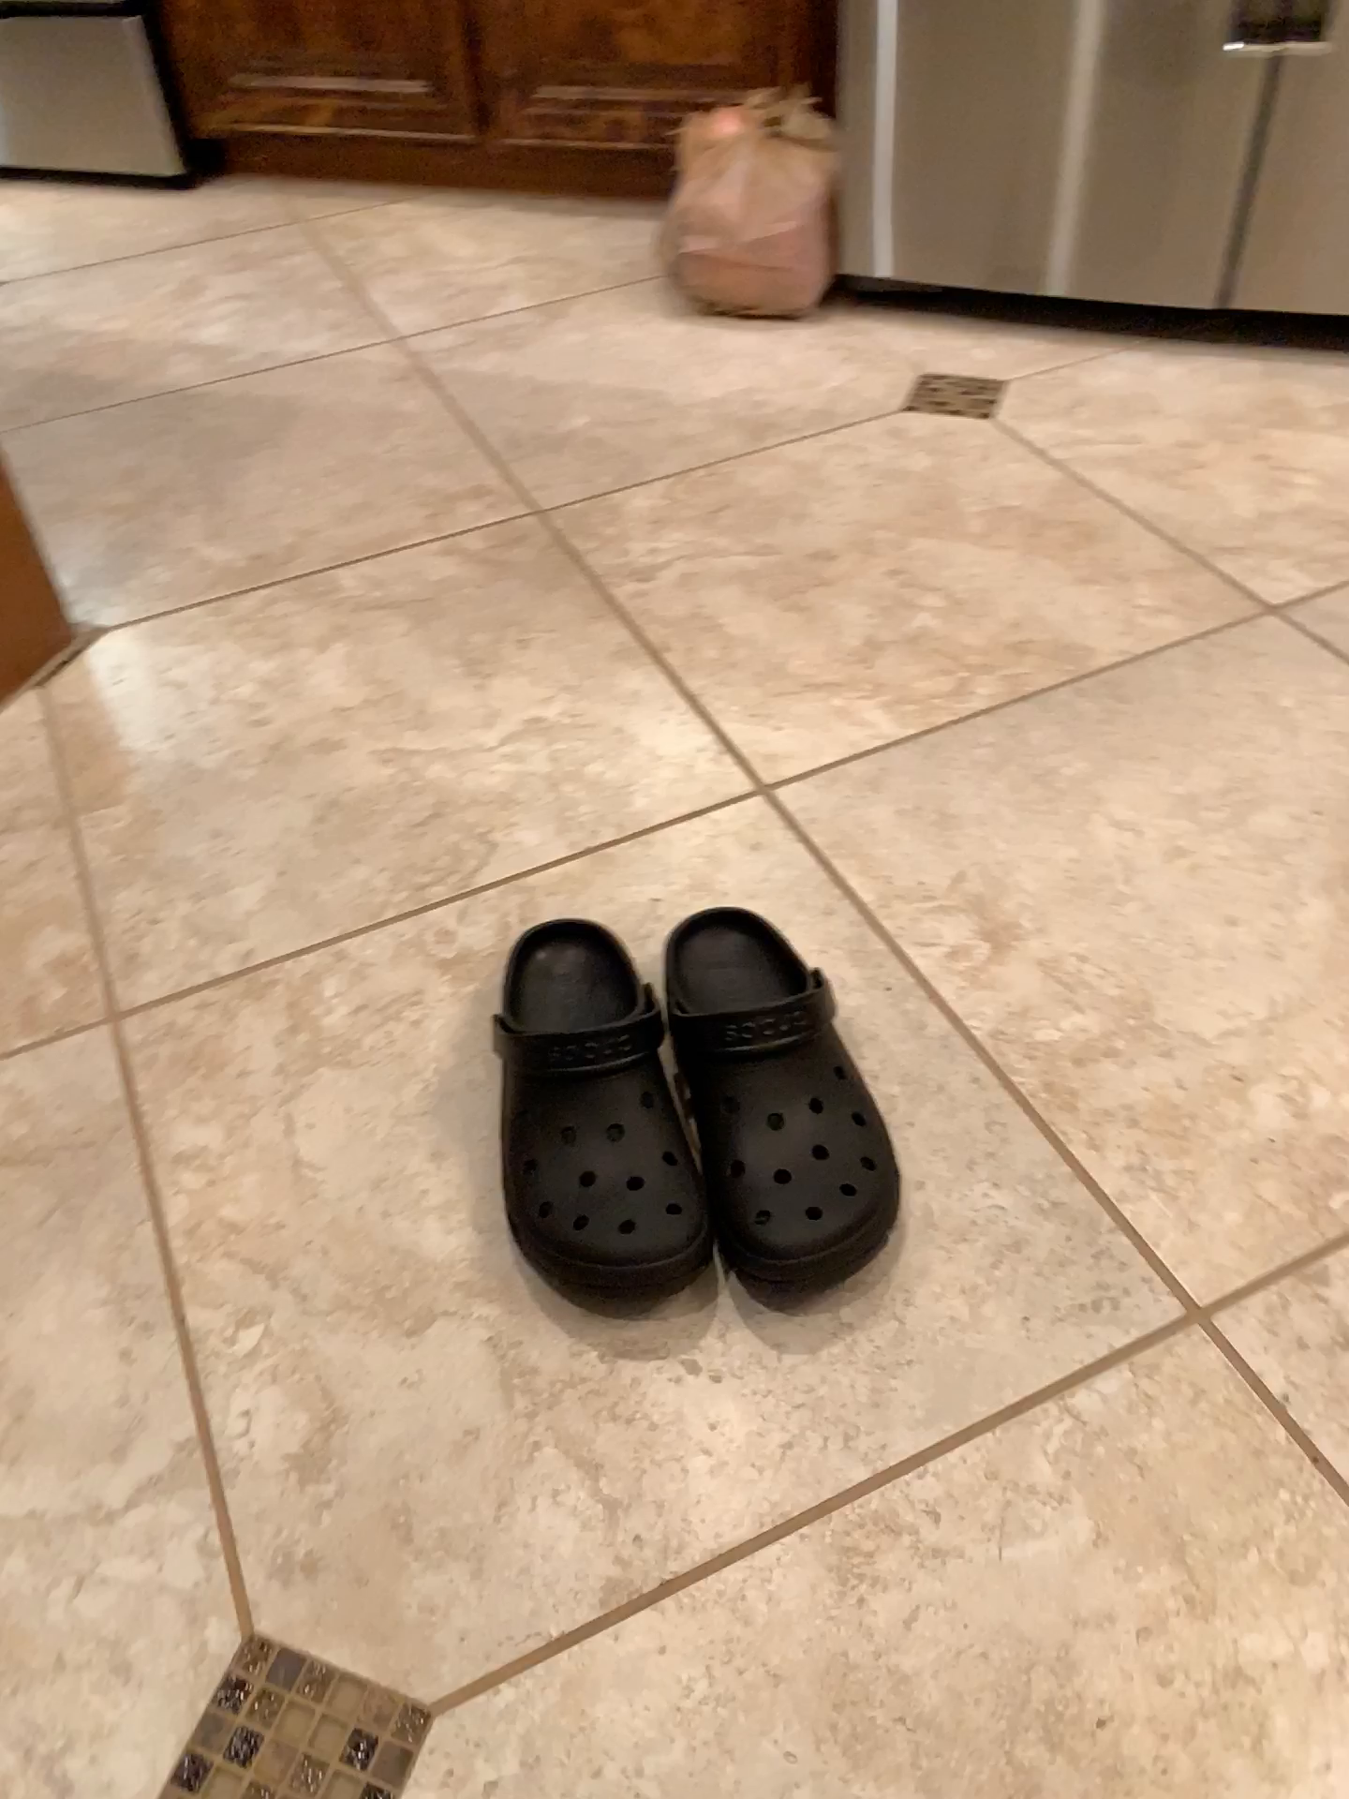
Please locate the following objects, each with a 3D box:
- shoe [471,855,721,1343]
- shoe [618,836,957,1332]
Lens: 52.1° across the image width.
[{"bbox_3d":[-0.053,0.106,0.820,0.113,0.085,0.279,-8,45,-3],"label":"shoe"},{"bbox_3d":[0.056,0.096,0.817,0.123,0.085,0.279,-11,45,-6],"label":"shoe"}]
